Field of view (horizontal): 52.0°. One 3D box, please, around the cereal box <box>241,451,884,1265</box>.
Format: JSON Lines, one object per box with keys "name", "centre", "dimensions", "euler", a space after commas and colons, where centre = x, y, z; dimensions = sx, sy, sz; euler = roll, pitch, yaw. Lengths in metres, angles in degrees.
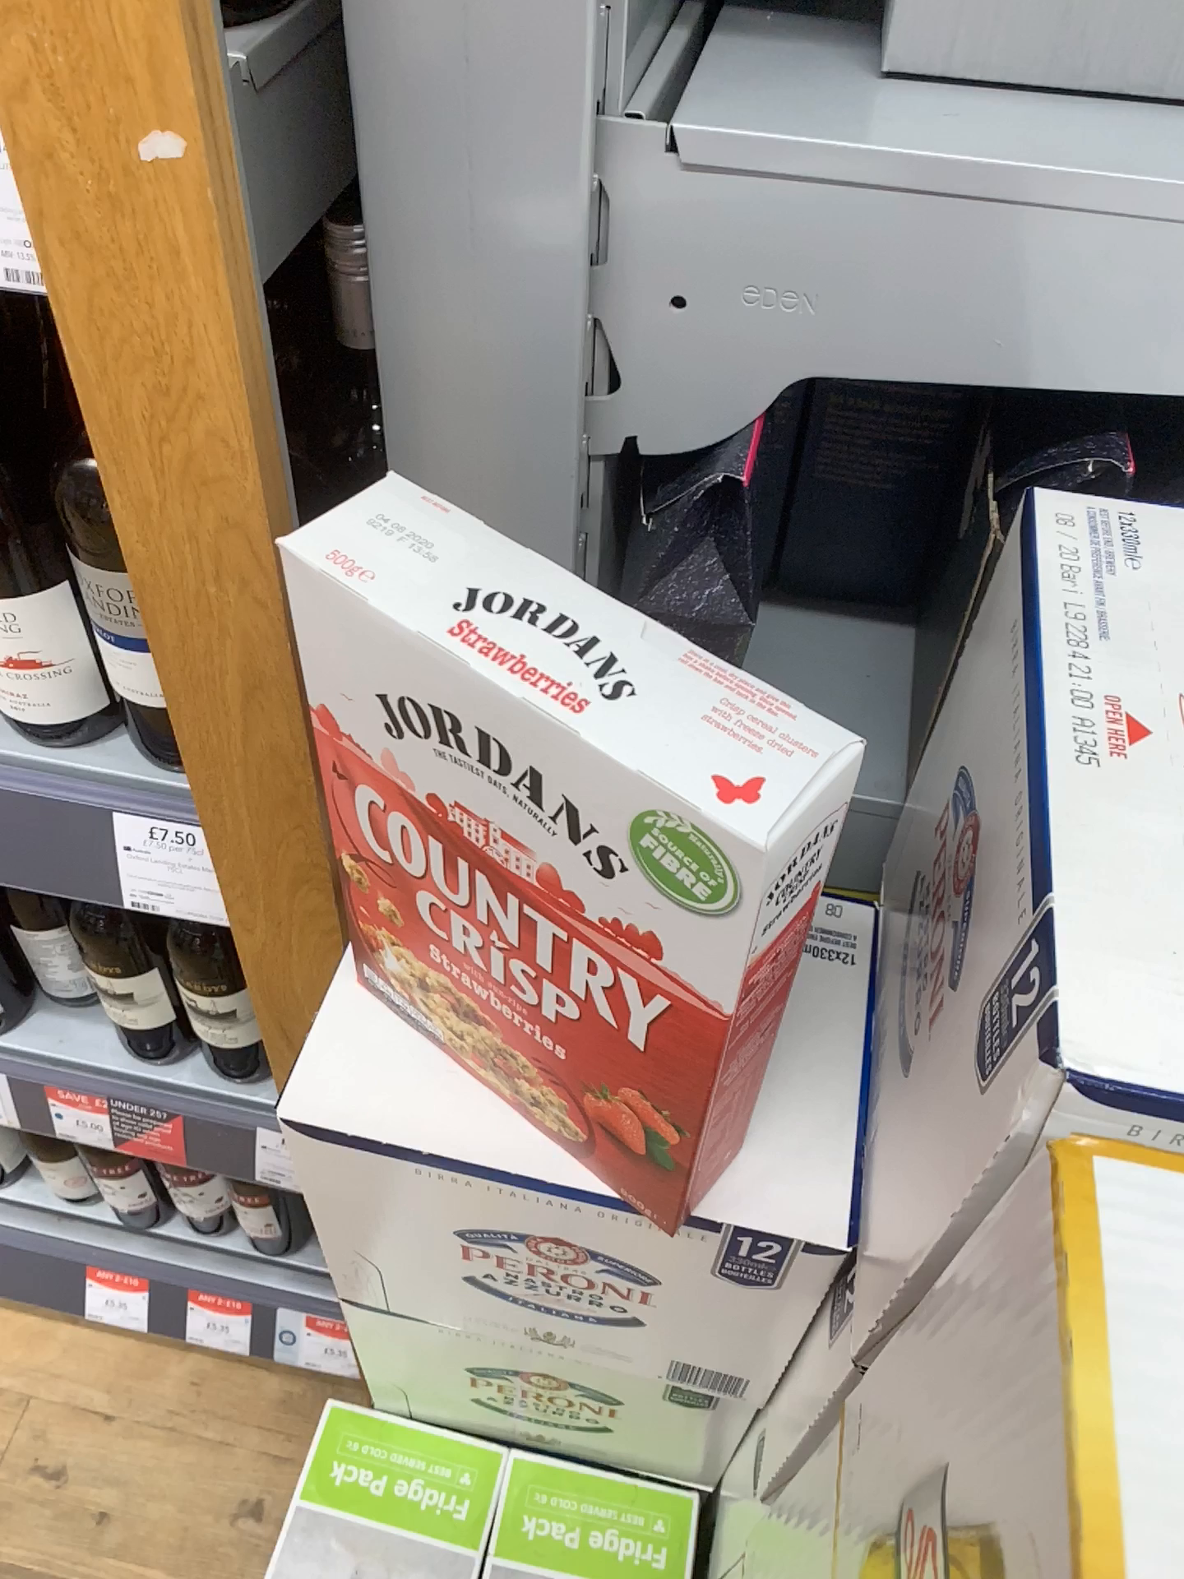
{"name": "cereal box", "centre": [-0.020, 0.037, 0.424], "dimensions": [0.191, 0.248, 0.050], "euler": [34, 55, 24]}
